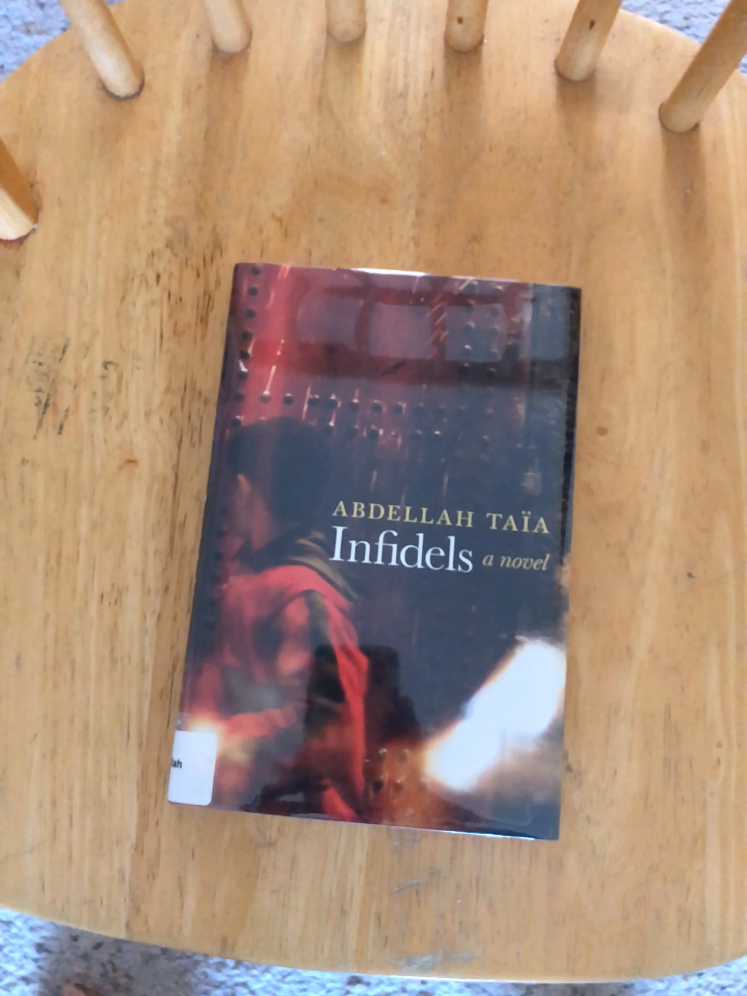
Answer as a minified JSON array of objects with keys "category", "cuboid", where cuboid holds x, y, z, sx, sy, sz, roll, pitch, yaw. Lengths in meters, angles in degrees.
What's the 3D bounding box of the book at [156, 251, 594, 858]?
[{"category":"book","cuboid":[0.005,0.014,0.322,0.142,0.020,0.216,5,79,3]}]
